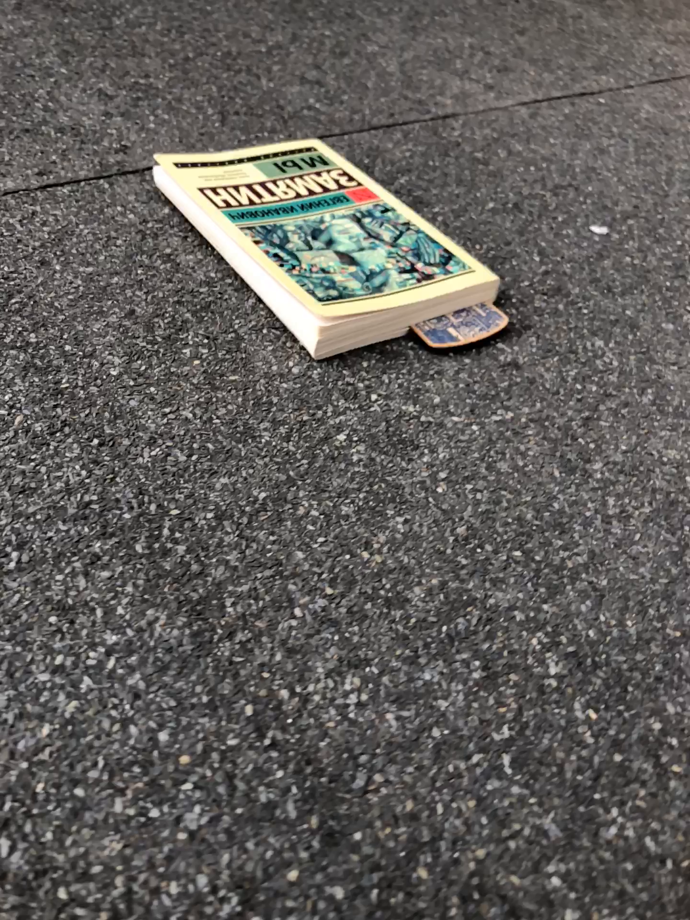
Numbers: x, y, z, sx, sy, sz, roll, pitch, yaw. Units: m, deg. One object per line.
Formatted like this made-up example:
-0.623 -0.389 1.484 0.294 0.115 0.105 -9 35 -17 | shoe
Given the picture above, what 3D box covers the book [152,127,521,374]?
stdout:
-0.011 -0.126 0.420 0.120 0.027 0.183 -21 52 -28 | book
